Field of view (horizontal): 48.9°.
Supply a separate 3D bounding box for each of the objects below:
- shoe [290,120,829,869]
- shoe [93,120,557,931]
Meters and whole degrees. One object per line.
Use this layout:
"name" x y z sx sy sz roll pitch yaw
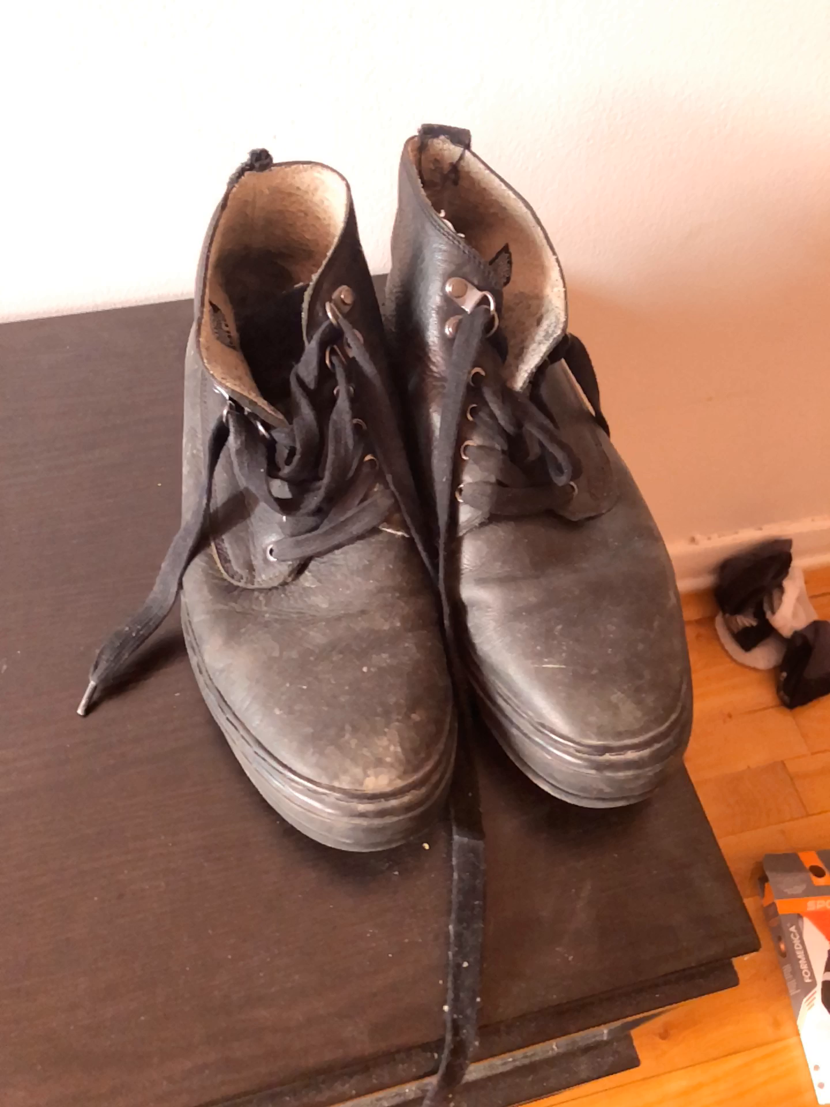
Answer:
"shoe" 0.042 -0.051 0.431 0.120 0.109 0.342 -13 58 -12
"shoe" -0.058 -0.037 0.400 0.120 0.109 0.342 -10 57 -10
